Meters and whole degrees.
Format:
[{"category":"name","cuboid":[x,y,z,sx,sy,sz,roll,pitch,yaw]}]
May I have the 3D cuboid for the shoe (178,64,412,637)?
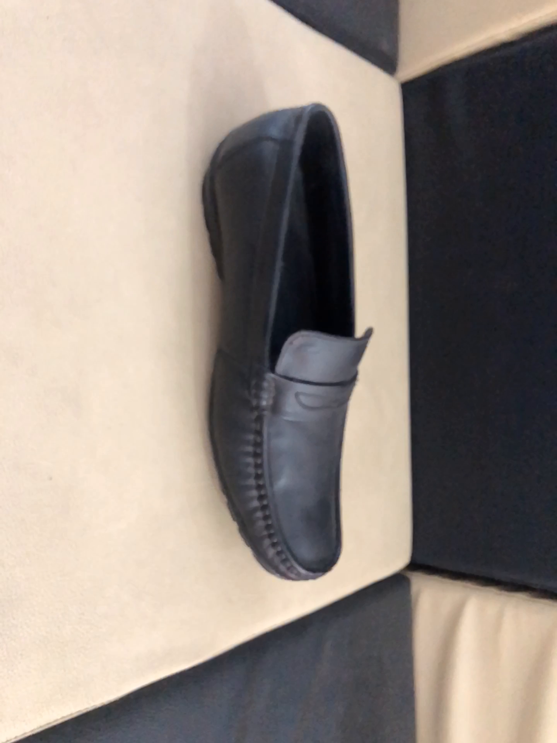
[{"category":"shoe","cuboid":[0.012,-0.011,0.382,0.101,0.079,0.290,-3,90,-47]}]
